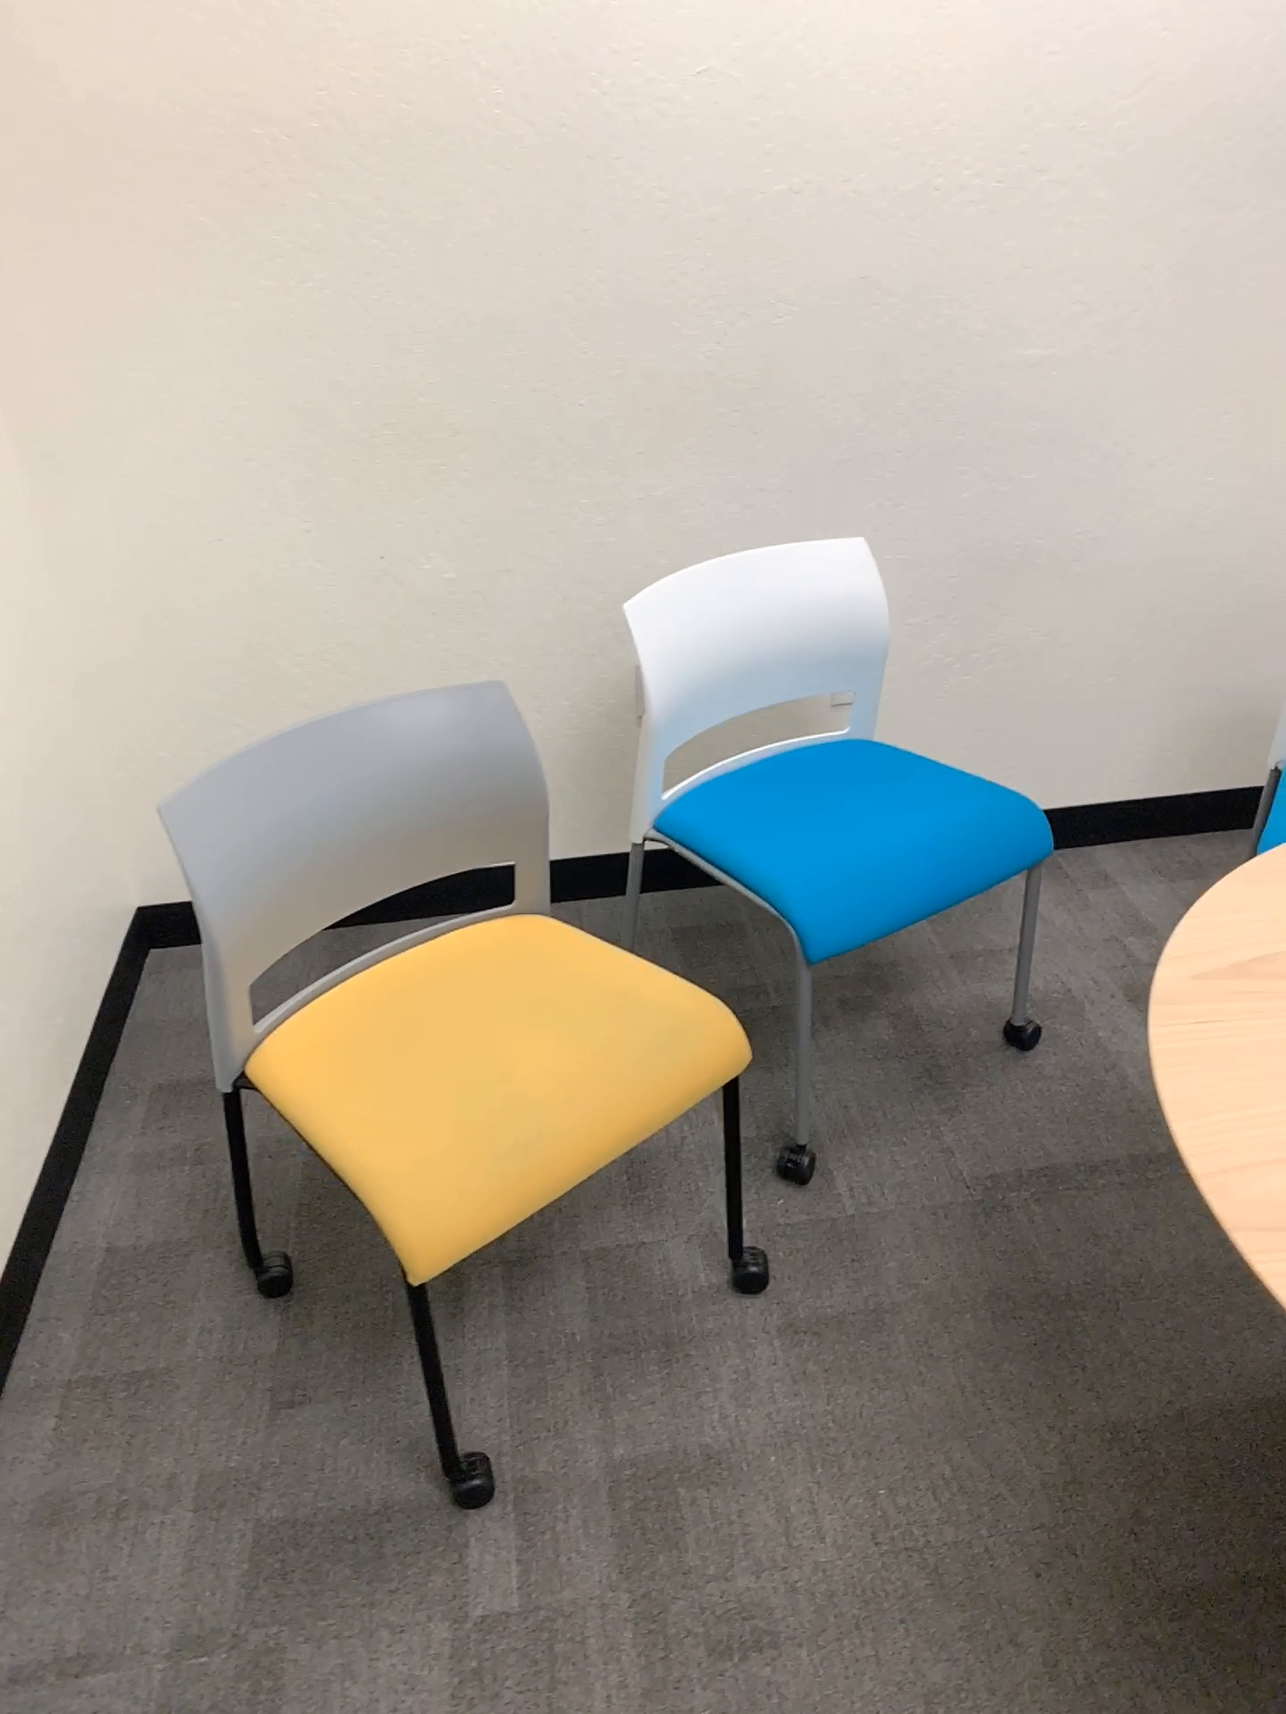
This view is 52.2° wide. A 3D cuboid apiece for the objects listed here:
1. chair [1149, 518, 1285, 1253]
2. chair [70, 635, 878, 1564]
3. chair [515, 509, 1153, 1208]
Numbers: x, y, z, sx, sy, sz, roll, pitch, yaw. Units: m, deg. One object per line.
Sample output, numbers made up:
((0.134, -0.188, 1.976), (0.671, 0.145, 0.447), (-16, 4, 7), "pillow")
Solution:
((1.280, -0.017, 2.035), (0.752, 0.765, 0.693), (11, 33, 23), "chair")
((-0.193, 0.230, 1.675), (0.641, 0.716, 0.693), (-26, 37, -33), "chair")
((0.273, -0.053, 2.132), (0.640, 0.755, 0.694), (-20, 35, -26), "chair")
